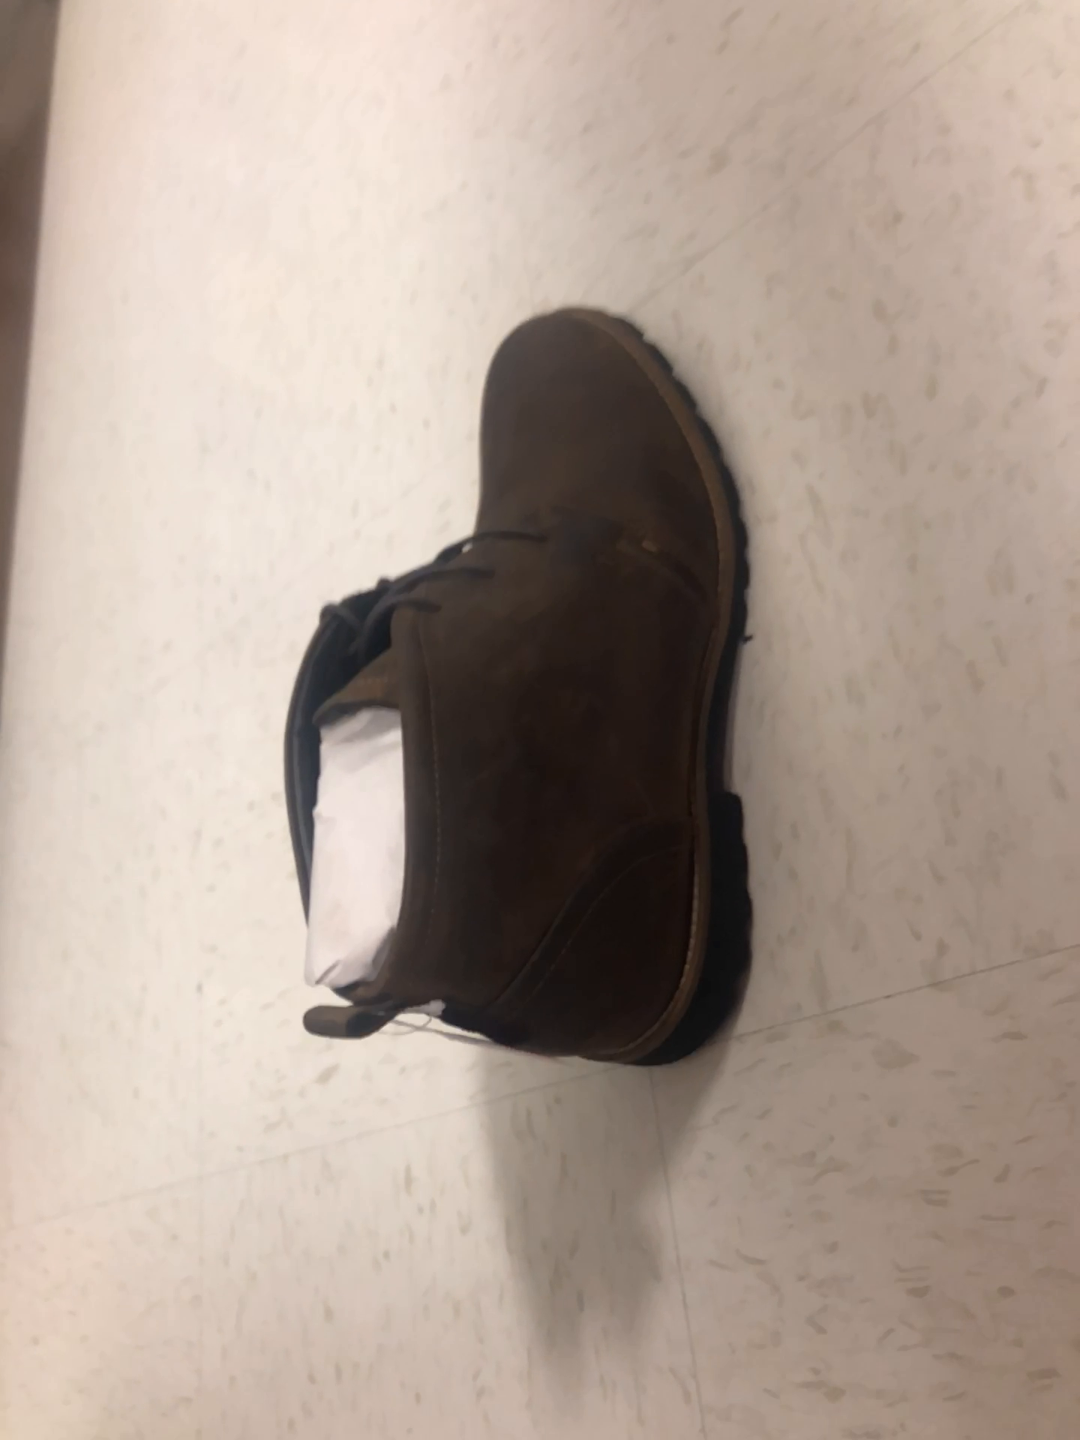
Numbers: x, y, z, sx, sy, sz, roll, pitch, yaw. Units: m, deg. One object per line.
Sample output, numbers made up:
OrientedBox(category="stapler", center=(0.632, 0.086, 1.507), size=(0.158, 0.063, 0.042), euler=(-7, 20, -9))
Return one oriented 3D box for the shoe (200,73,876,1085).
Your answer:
OrientedBox(category="shoe", center=(-0.004, -0.032, 0.411), size=(0.115, 0.167, 0.283), euler=(-24, 60, 40))
